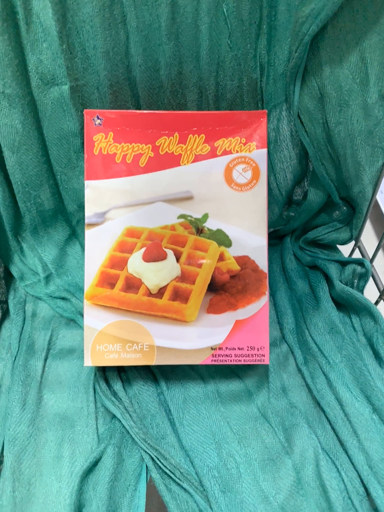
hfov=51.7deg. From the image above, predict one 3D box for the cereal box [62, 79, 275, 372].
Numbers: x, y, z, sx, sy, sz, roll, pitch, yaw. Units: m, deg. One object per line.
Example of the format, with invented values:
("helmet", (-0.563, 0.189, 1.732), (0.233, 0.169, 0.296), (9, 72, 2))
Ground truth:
("cereal box", (-0.014, -0.019, 0.270), (0.130, 0.180, 0.050), (0, 1, 0))
